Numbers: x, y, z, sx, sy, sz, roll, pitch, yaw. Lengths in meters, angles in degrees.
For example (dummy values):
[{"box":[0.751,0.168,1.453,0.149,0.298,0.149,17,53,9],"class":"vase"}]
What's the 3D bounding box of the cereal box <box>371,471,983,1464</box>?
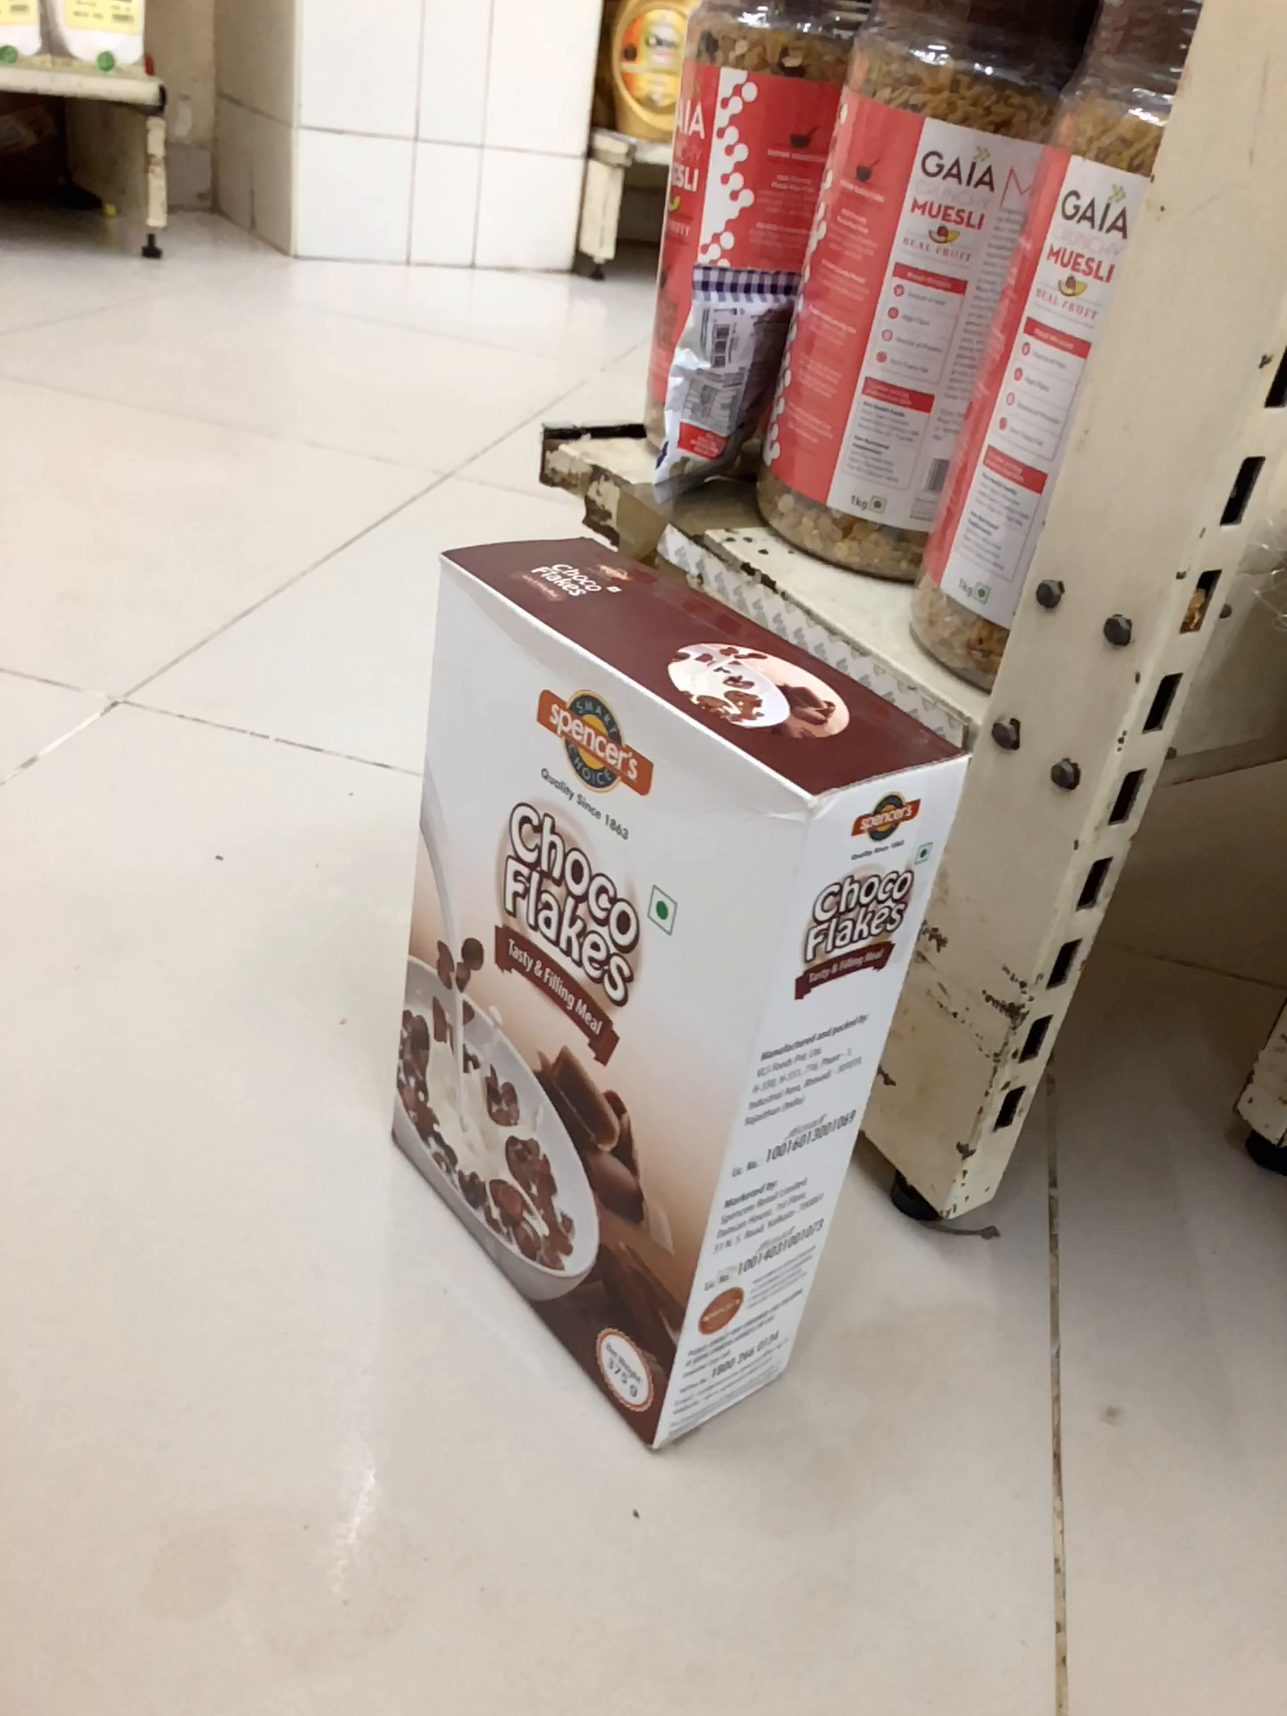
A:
[{"box":[-0.012,0.031,0.468,0.060,0.258,0.190,-15,37,-36],"class":"cereal box"}]
